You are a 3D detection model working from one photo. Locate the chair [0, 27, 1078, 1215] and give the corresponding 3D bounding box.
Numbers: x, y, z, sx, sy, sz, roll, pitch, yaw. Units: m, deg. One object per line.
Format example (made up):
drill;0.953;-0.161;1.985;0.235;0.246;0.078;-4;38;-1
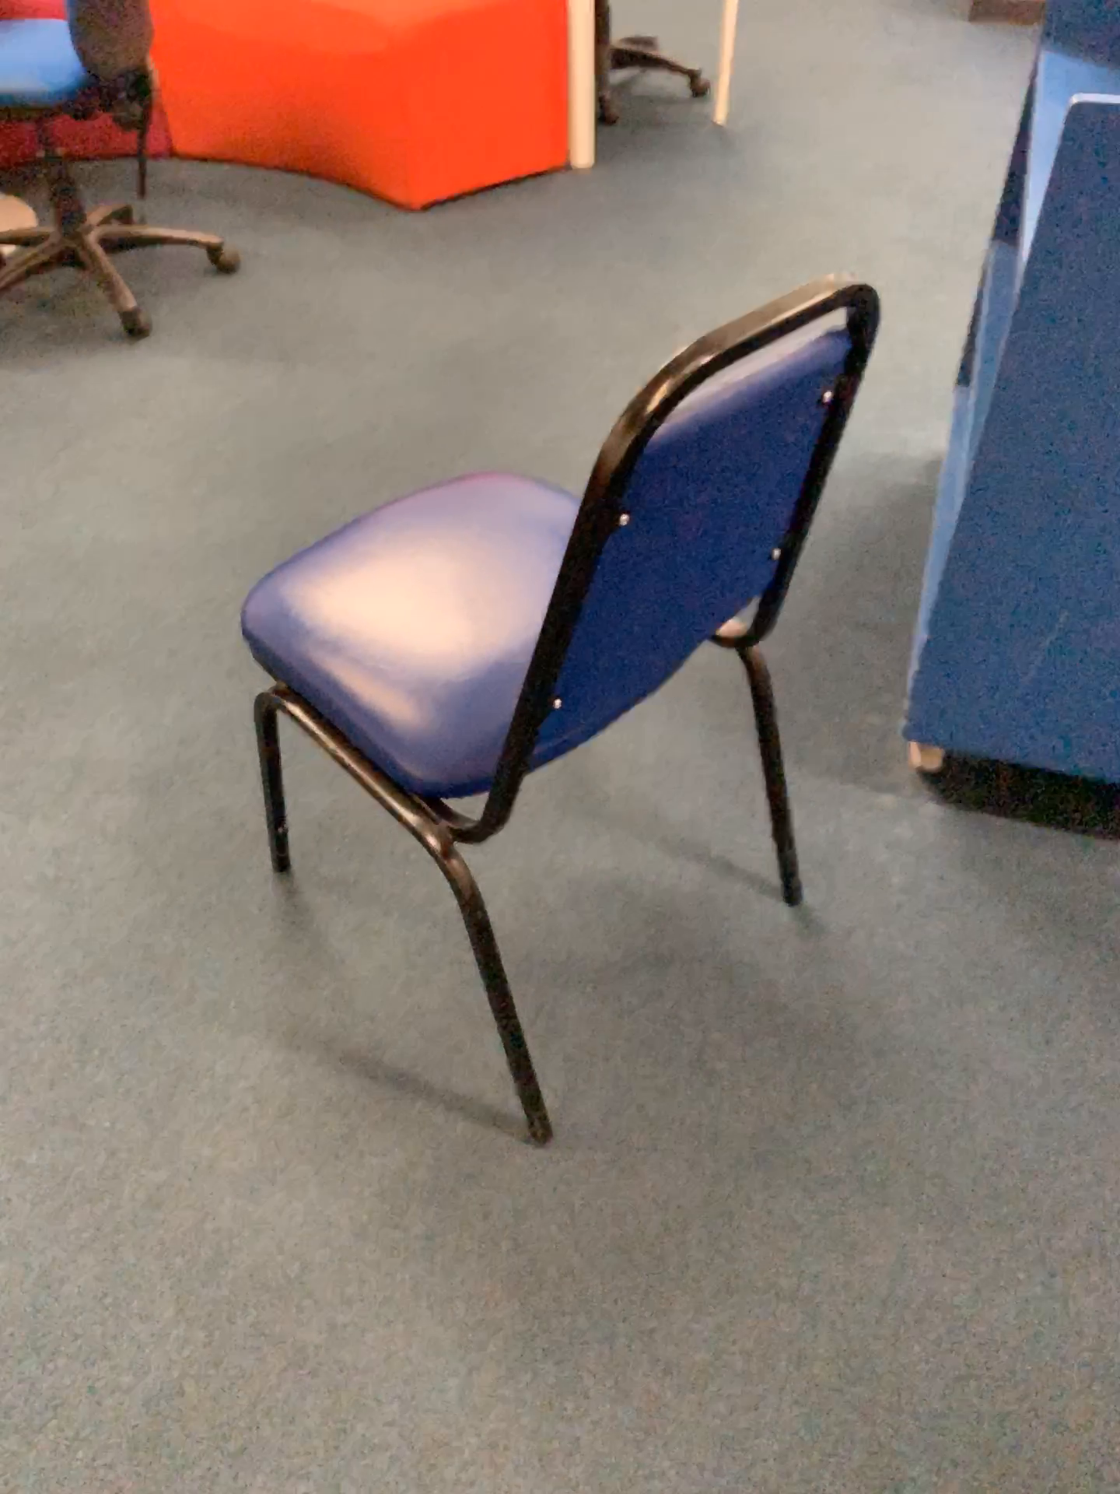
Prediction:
chair;-0.020;-0.111;1.174;0.562;0.882;0.583;-34;54;-27
